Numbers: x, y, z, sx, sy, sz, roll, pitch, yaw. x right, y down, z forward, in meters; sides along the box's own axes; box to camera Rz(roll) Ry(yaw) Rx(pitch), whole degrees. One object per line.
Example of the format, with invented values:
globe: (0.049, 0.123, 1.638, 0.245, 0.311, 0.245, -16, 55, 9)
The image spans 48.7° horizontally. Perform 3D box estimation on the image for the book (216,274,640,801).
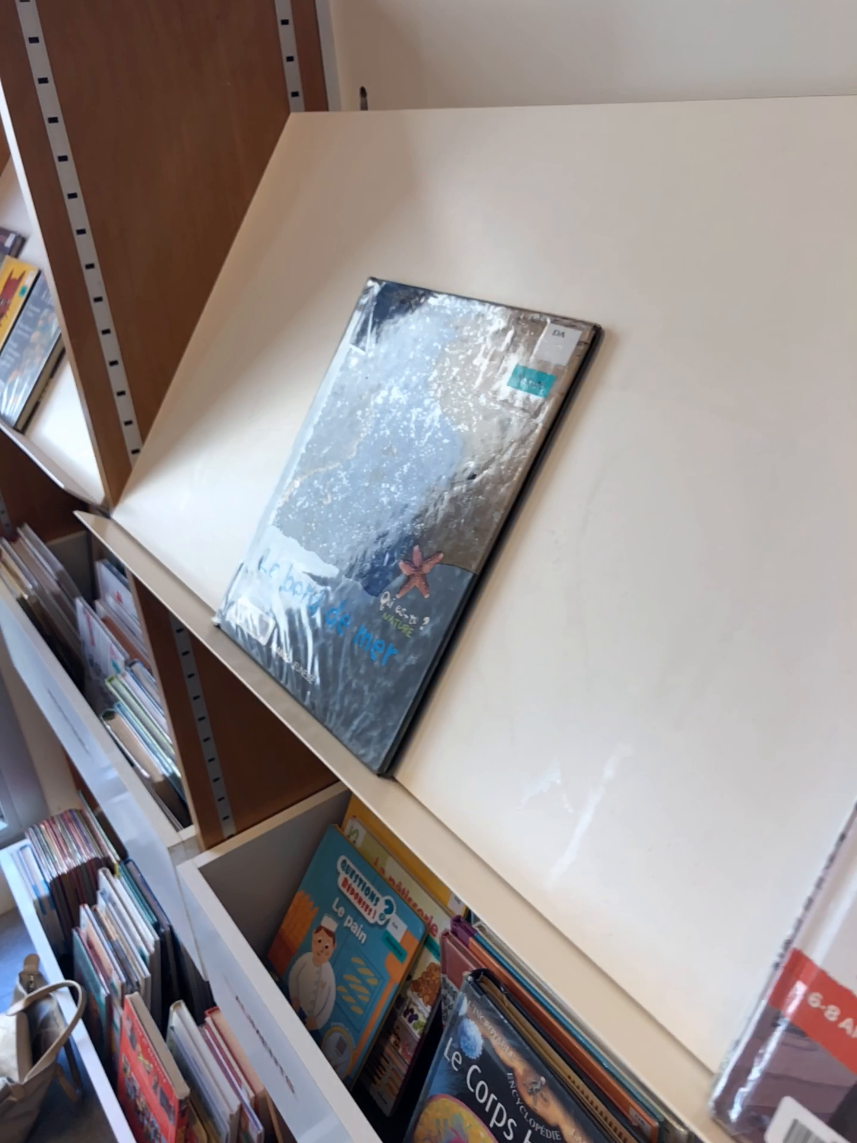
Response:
book: (-0.019, -0.036, 0.525, 0.020, 0.244, 0.209, 22, 6, -40)
